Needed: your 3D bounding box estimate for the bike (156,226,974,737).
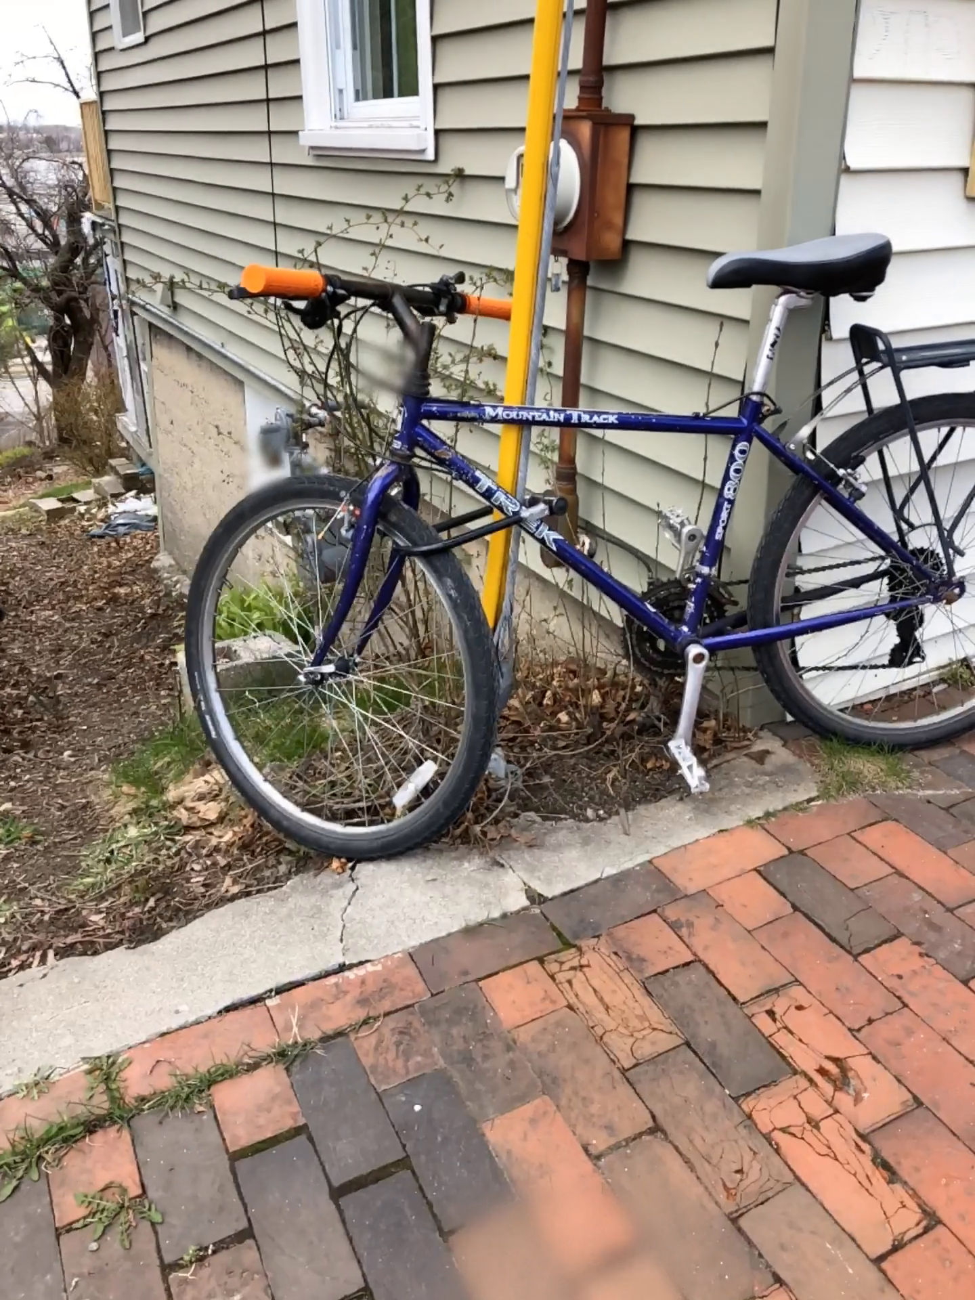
[{"bbox_3d":[0.073,-0.303,1.775,1.146,0.690,0.515,0,26,4],"label":"bike"}]
